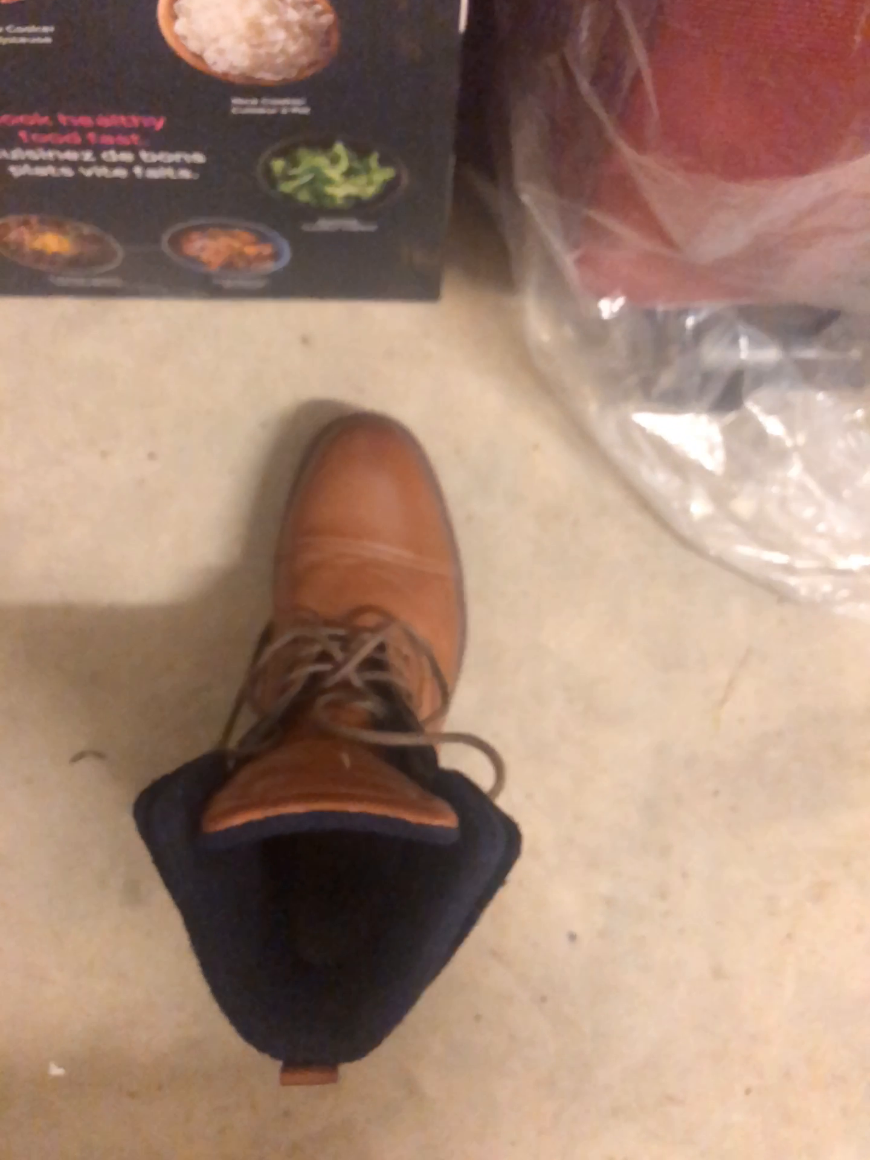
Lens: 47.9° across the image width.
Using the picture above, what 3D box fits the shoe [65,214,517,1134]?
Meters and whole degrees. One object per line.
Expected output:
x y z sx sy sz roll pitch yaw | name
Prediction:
-0.048 0.037 0.430 0.132 0.202 0.303 3 82 -2 | shoe
